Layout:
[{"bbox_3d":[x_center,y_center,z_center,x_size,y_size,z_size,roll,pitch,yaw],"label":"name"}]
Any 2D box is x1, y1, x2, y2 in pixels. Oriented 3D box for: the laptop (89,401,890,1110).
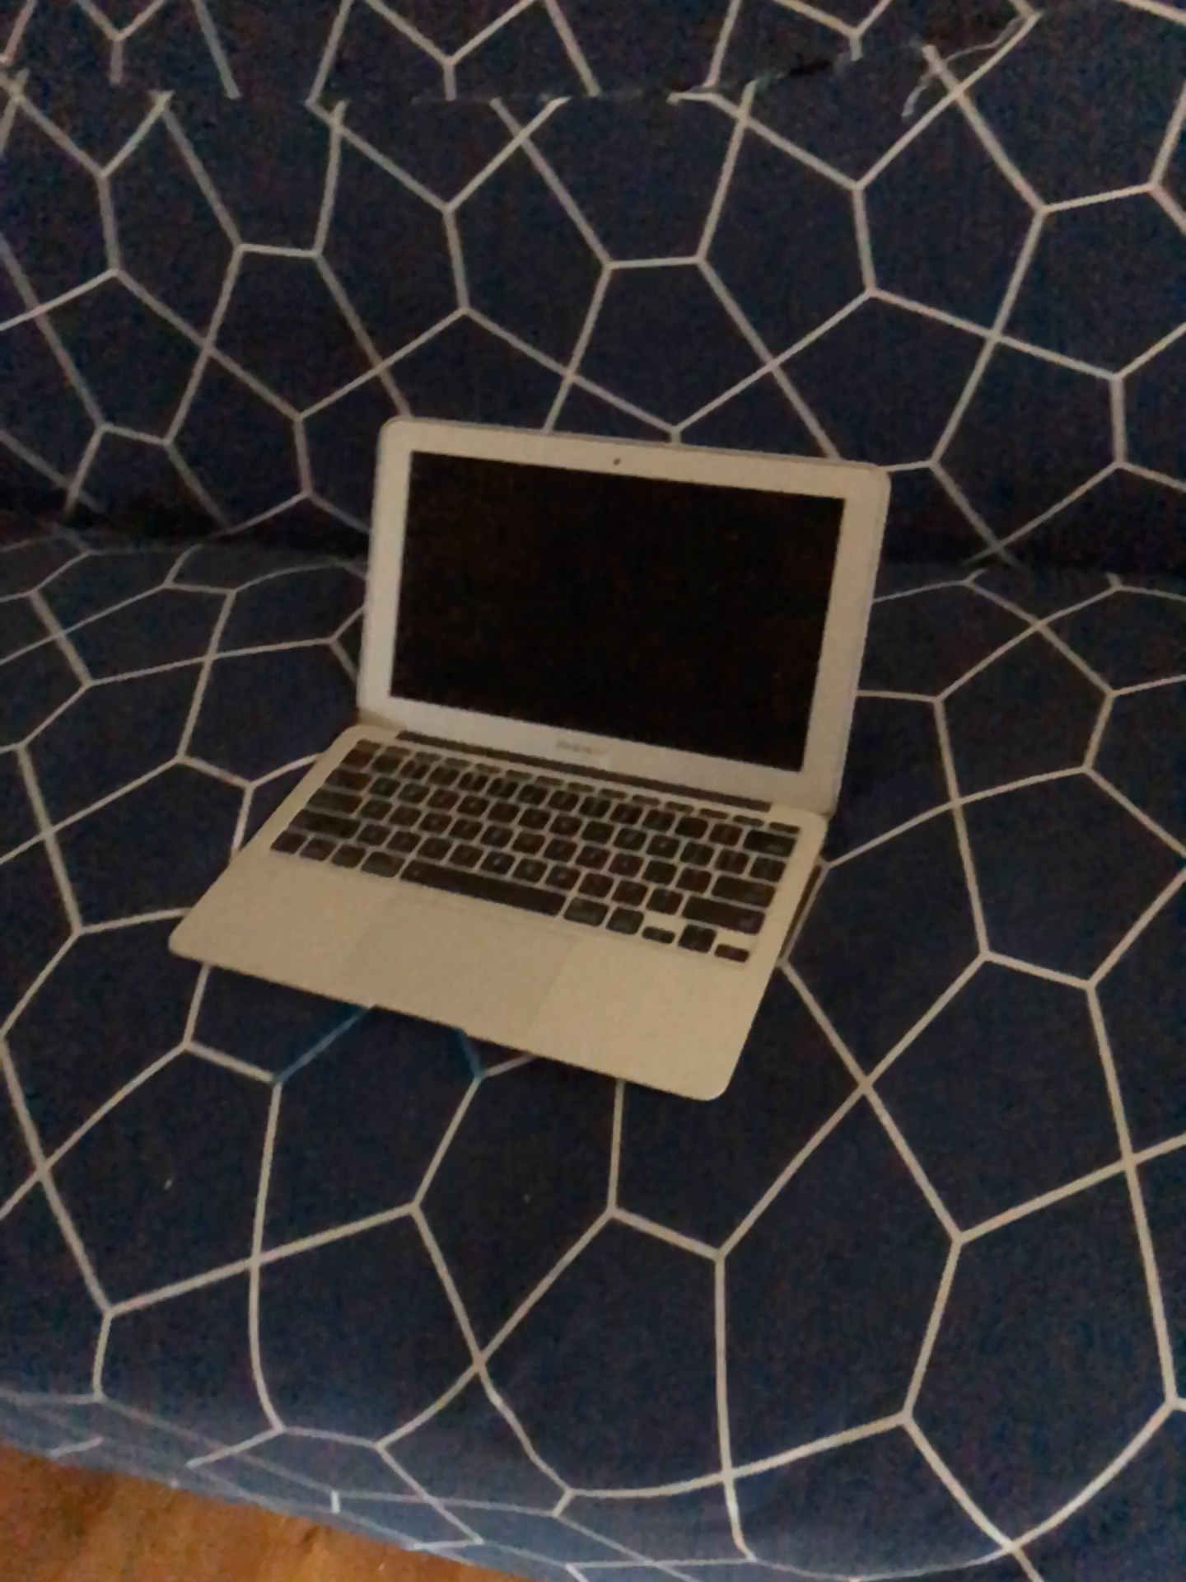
[{"bbox_3d":[-0.028,-0.044,0.643,0.281,0.156,0.281,12,43,19],"label":"laptop"}]
